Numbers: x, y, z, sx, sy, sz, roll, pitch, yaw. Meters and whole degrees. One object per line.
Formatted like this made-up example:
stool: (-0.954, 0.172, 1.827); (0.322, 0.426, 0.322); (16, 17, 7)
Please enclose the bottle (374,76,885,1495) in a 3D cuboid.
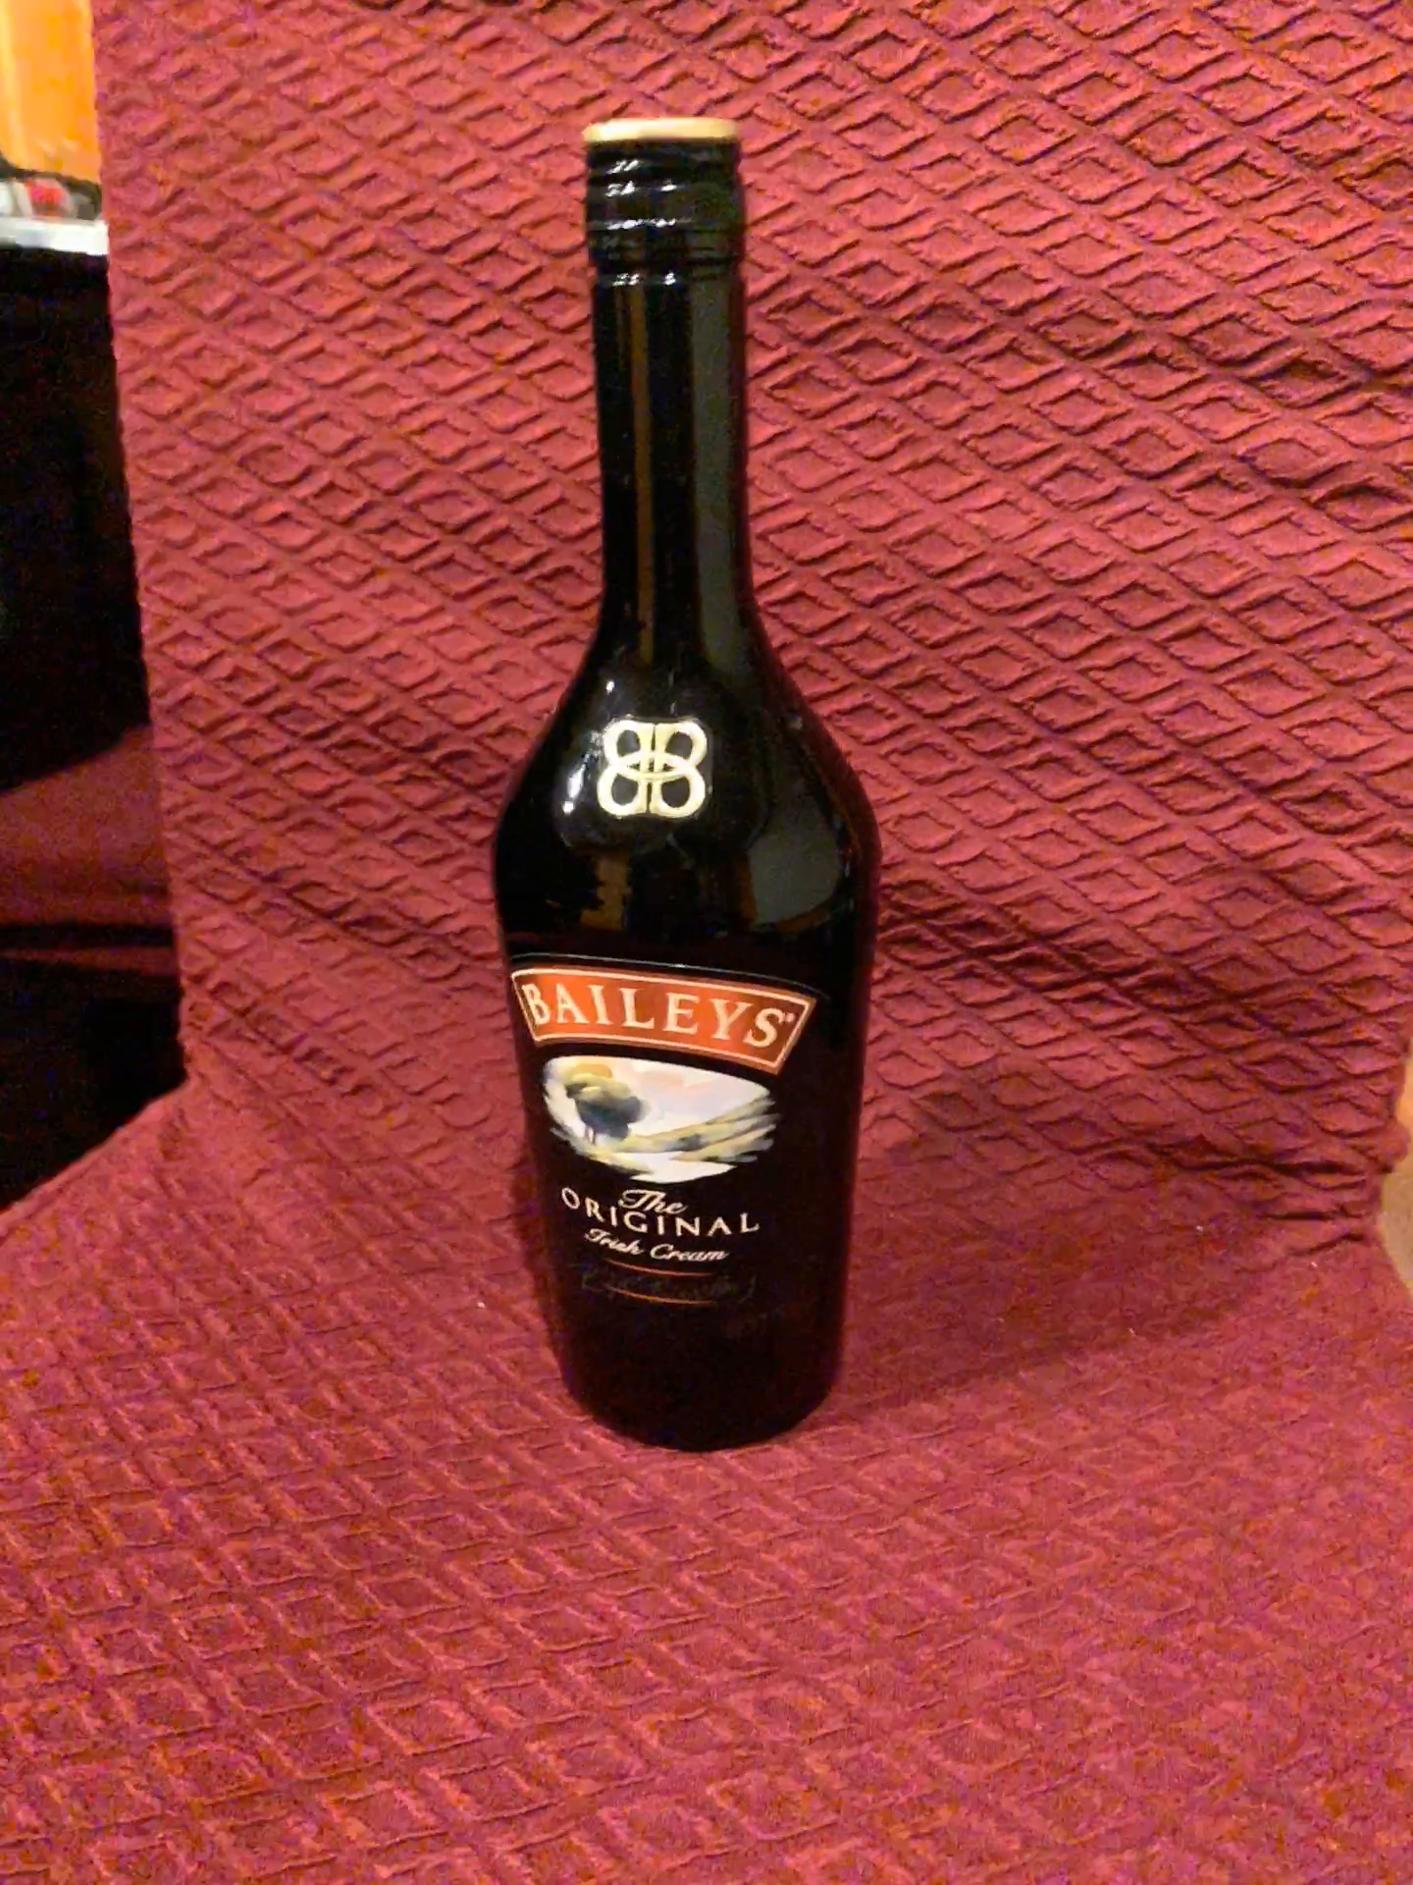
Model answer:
bottle: (-0.009, -0.021, 0.329); (0.080, 0.289, 0.070); (4, 22, 13)
